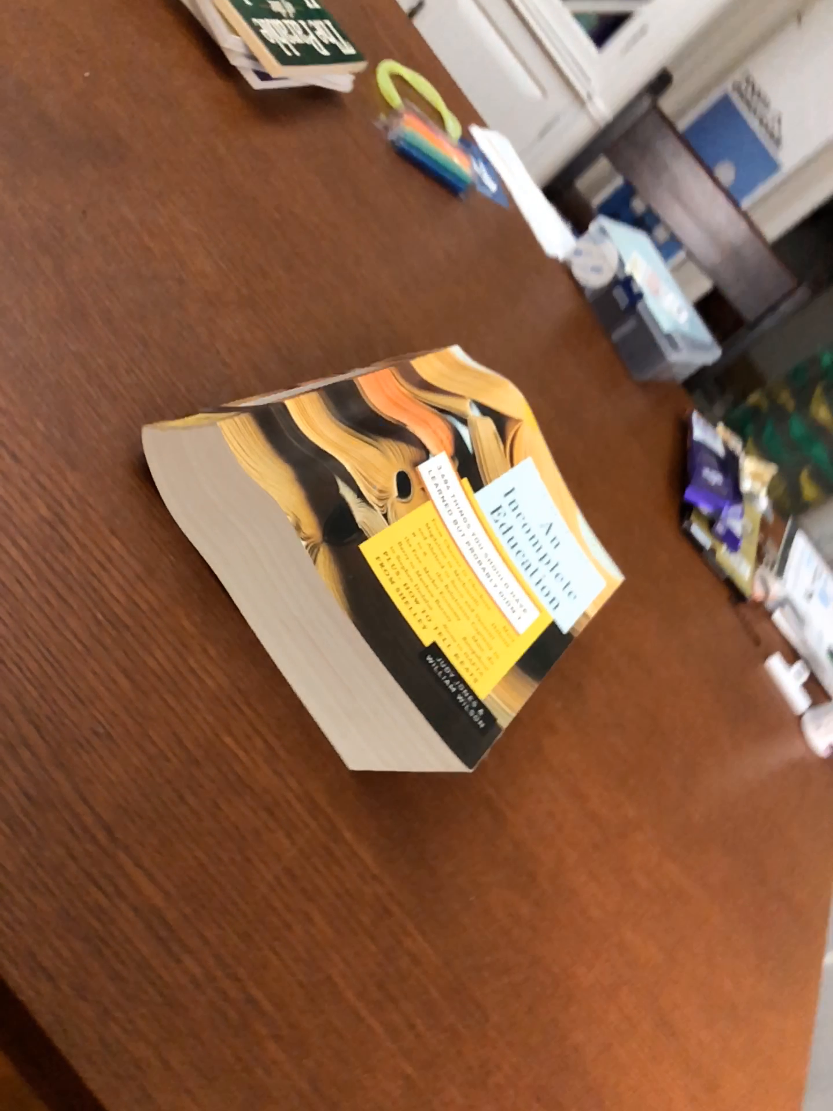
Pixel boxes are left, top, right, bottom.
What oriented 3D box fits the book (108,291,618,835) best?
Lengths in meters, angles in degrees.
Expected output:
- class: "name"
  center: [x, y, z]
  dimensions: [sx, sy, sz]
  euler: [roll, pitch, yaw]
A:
- class: "book"
  center: [-0.003, -0.018, 0.499]
  dimensions: [0.210, 0.060, 0.252]
  euler: [60, 36, -6]
